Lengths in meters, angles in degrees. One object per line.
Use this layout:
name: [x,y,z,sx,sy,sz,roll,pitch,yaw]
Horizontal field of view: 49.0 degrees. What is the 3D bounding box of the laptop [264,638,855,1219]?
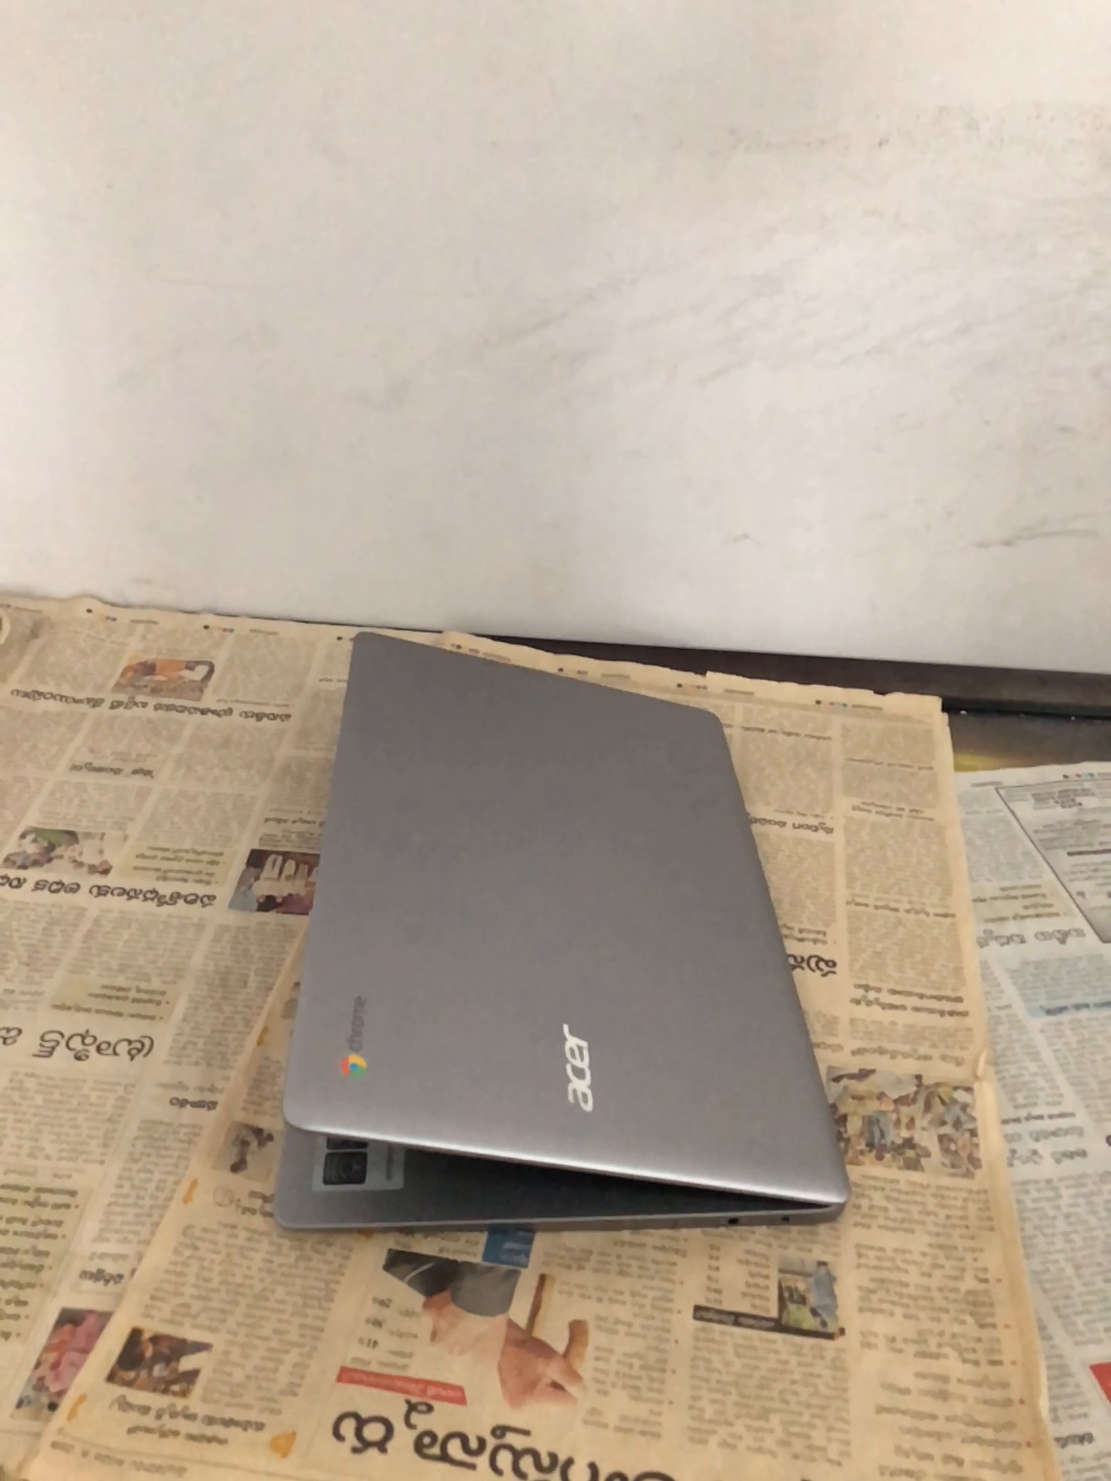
laptop: [-0.007,0.063,0.585,0.210,0.058,0.332,0,36,-3]
